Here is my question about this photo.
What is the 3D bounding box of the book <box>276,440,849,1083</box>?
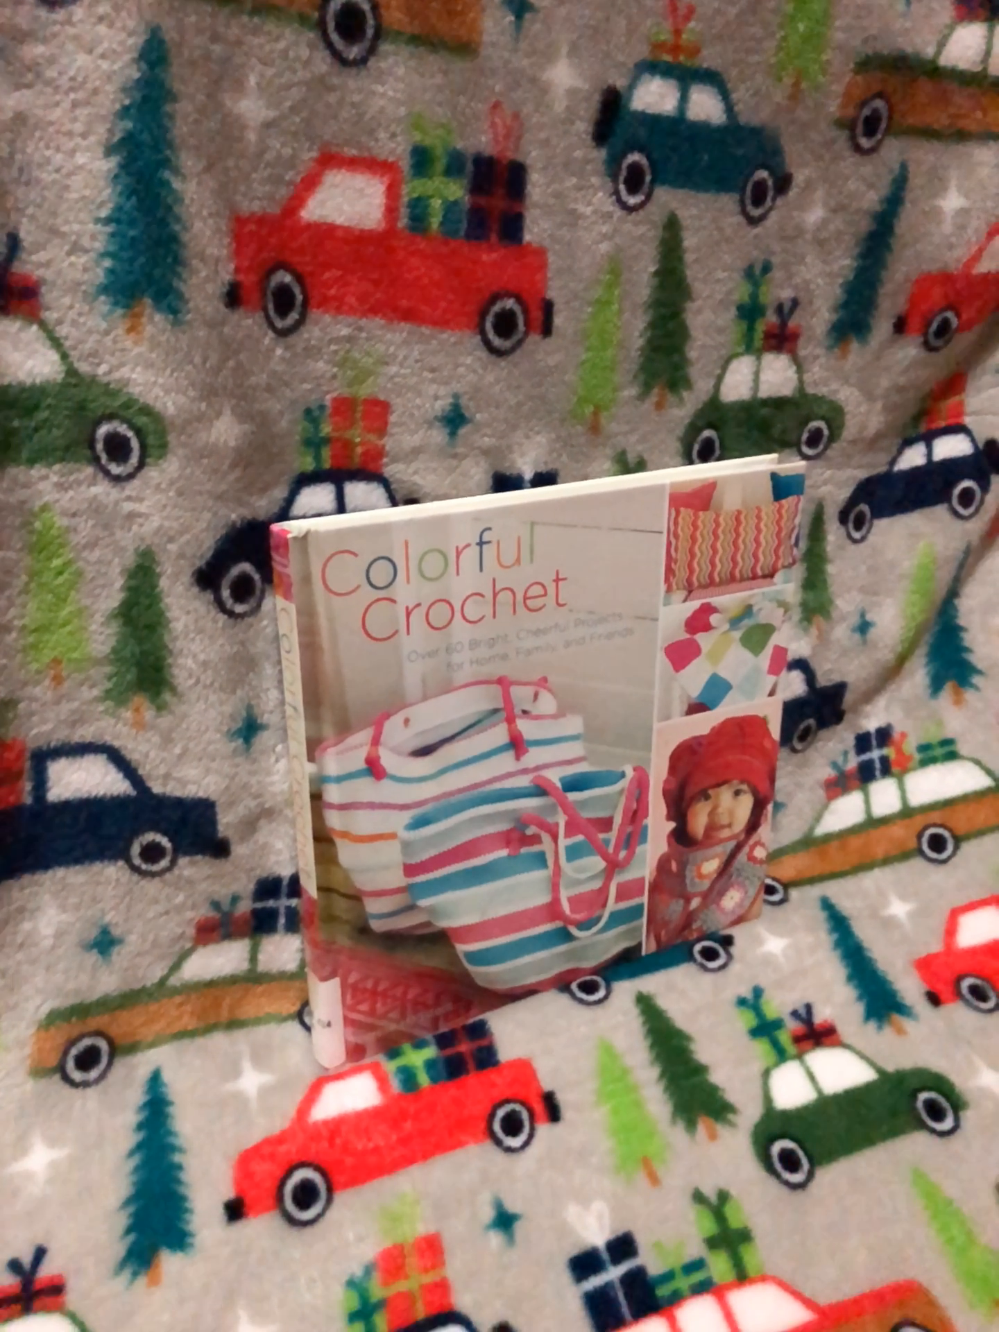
[{"bbox_3d":[0.022,0.034,0.401,0.202,0.214,0.020,-12,33,-28],"label":"book"}]
